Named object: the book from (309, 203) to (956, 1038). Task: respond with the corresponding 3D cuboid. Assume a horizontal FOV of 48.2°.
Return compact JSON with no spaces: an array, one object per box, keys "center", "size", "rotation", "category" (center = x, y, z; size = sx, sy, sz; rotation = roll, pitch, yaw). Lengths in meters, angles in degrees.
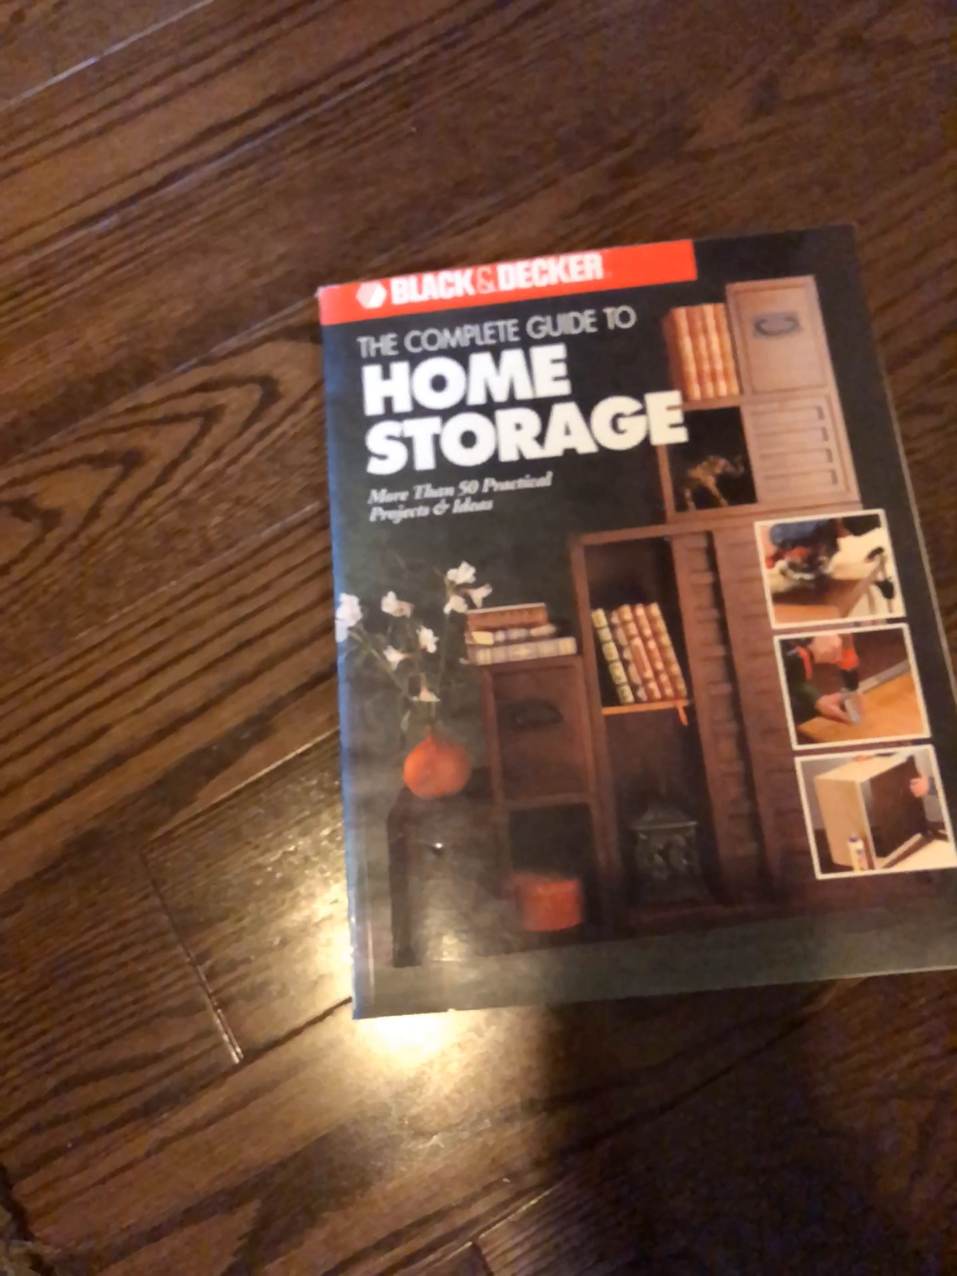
[{"center":[0.053,-0.018,0.386],"size":[0.215,0.020,0.287],"rotation":[-6,73,2],"category":"book"}]
